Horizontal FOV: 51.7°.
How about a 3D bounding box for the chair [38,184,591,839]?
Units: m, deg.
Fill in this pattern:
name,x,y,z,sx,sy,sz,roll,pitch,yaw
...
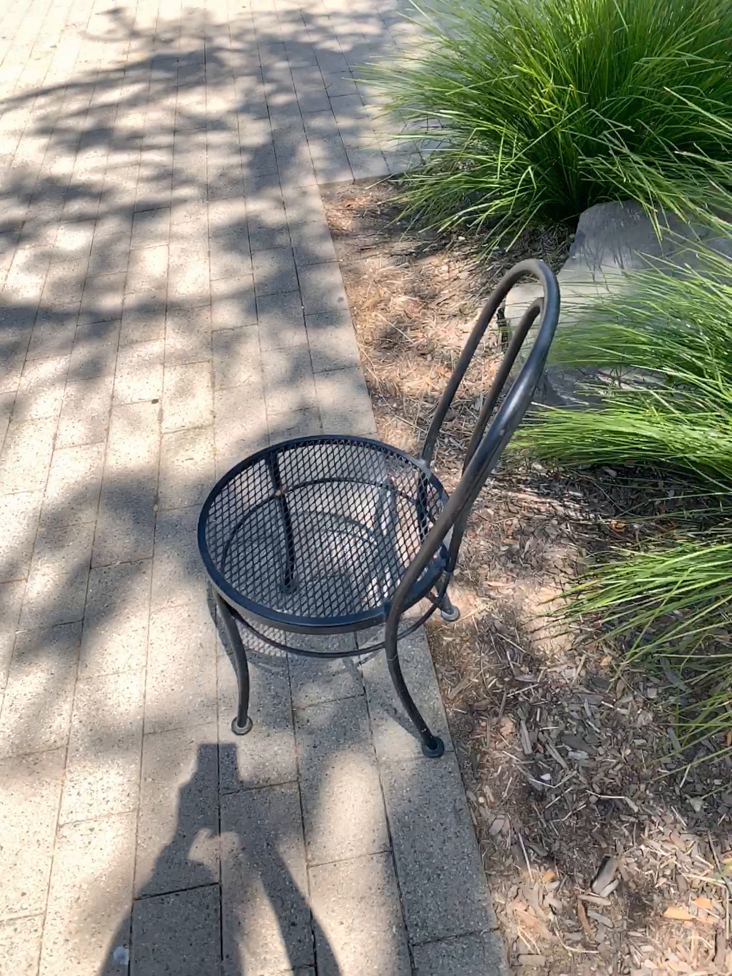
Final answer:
name,x,y,z,sx,sy,sz,roll,pitch,yaw
chair,0.014,0.107,1.217,0.532,0.997,0.460,6,48,12
